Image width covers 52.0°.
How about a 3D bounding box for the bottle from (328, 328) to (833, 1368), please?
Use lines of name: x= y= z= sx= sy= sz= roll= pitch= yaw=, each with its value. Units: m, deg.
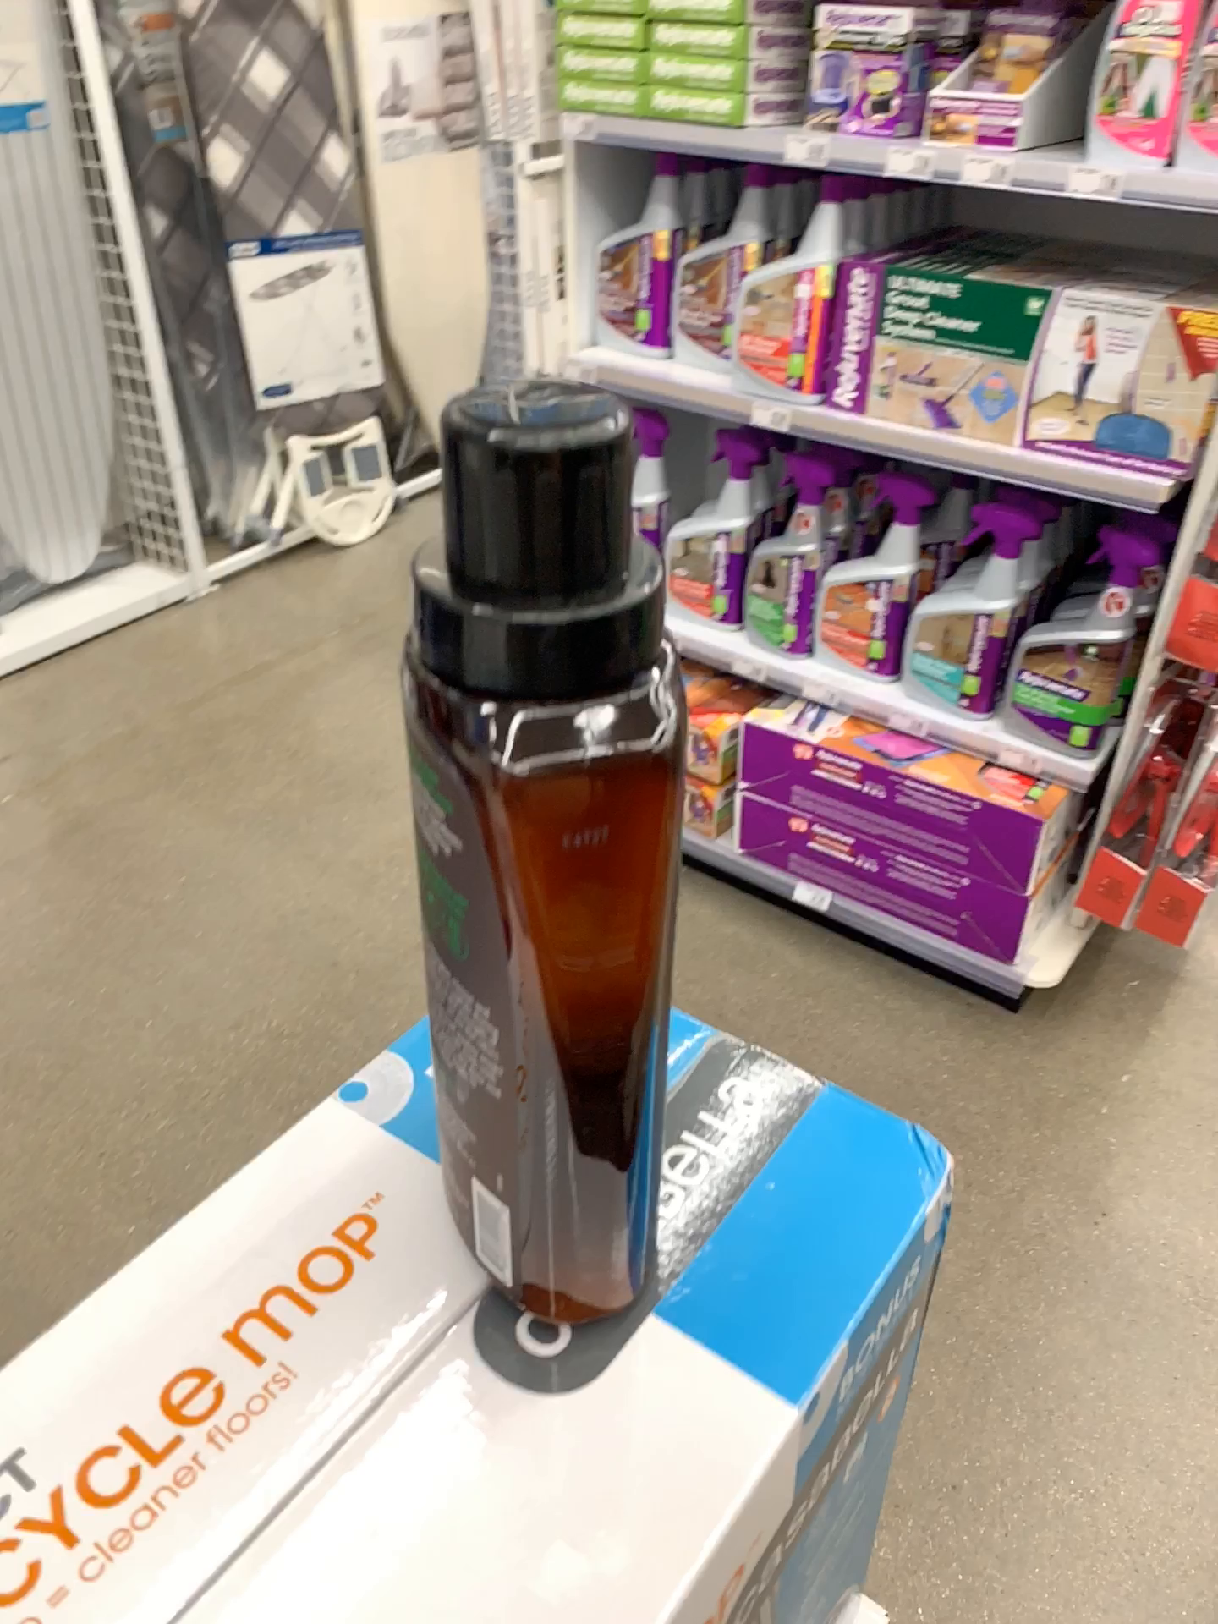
bottle: x=-0.011 y=0.014 z=0.284 sx=0.070 sy=0.209 sz=0.101 roll=-8 pitch=36 yaw=-11
